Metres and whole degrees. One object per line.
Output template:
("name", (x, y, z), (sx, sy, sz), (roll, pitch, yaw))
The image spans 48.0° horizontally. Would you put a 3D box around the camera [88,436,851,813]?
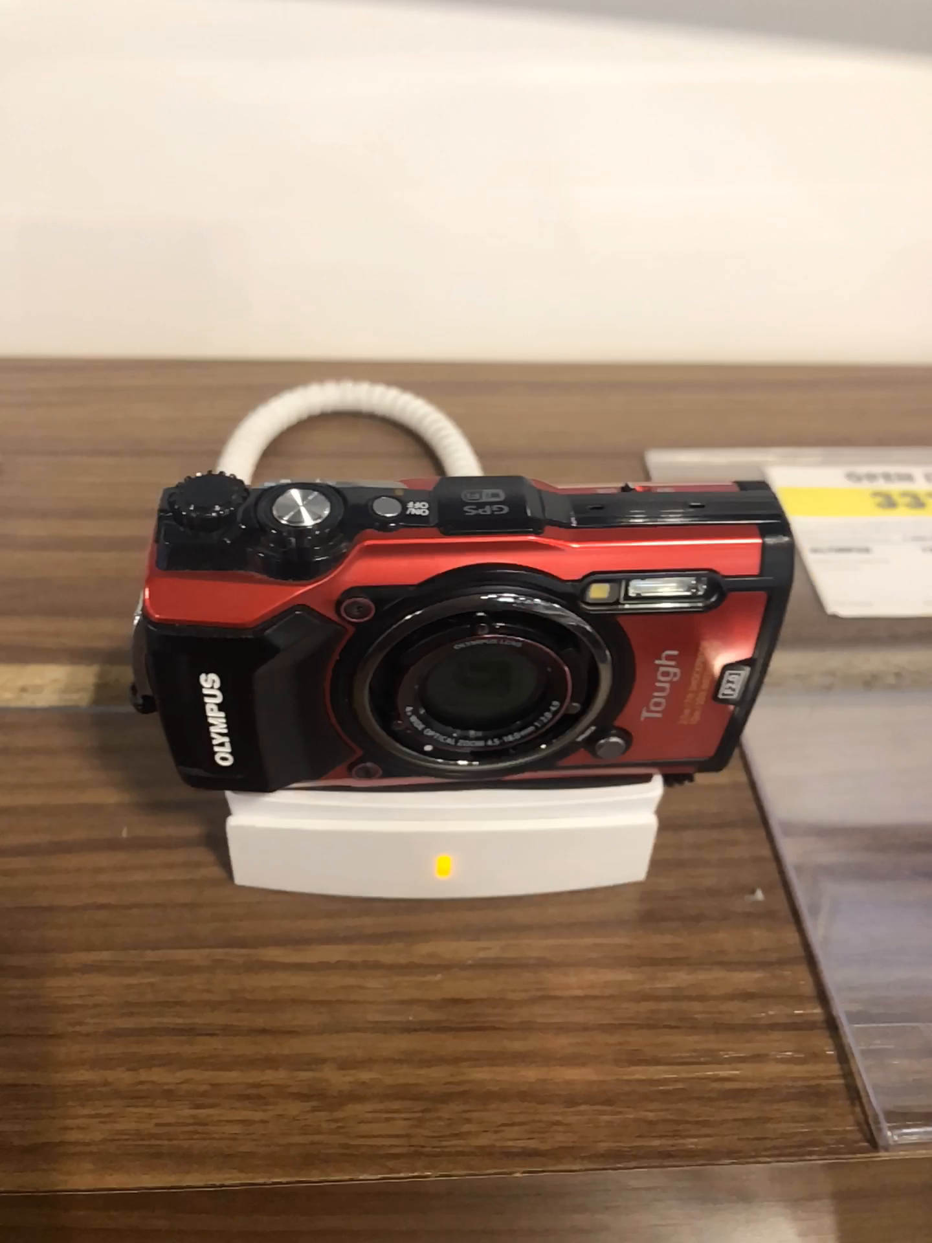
("camera", (0.000, 0.002, 0.192), (0.117, 0.064, 0.030), (0, 41, -3))
